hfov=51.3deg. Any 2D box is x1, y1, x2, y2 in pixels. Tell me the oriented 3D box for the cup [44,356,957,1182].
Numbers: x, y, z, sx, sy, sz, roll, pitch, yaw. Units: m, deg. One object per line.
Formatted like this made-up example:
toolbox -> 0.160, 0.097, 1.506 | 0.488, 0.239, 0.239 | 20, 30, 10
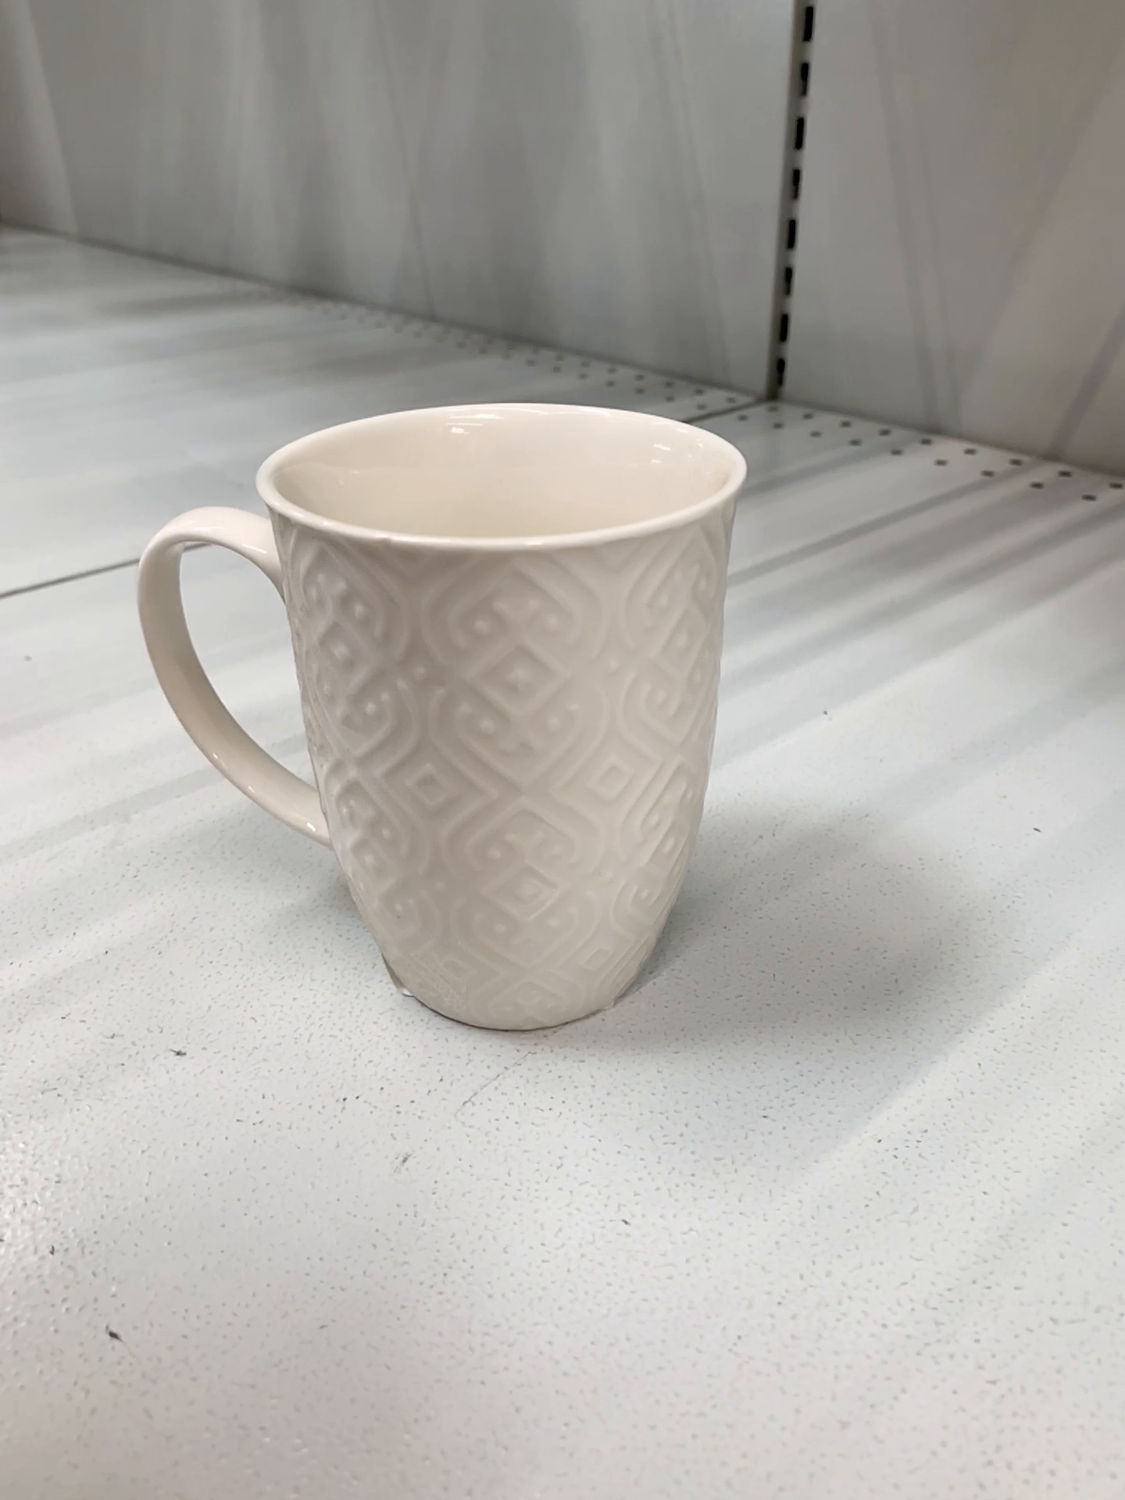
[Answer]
cup -> -0.011, -0.011, 0.229 | 0.132, 0.098, 0.092 | 19, 35, 30
